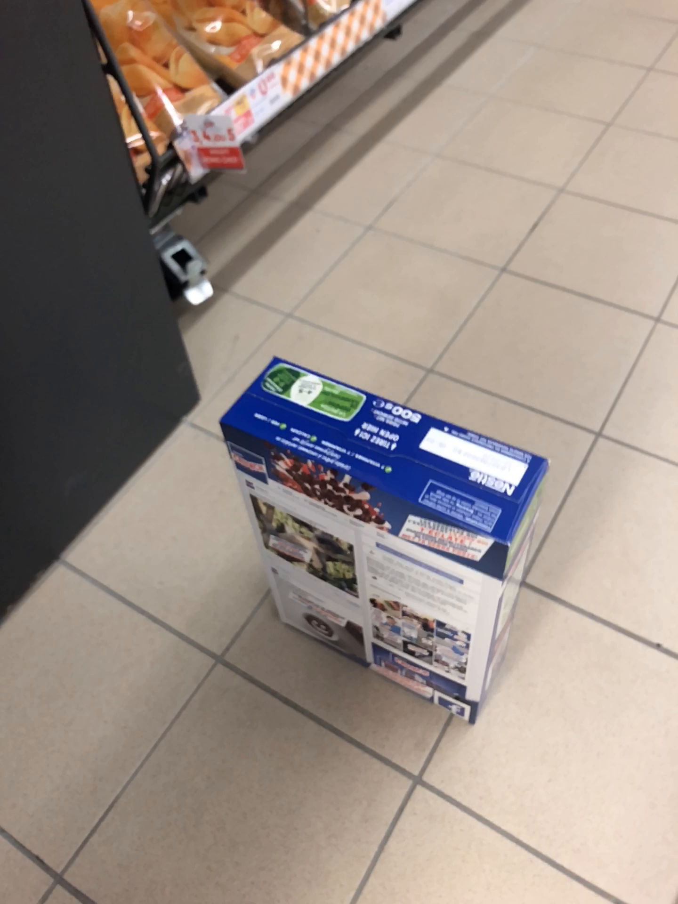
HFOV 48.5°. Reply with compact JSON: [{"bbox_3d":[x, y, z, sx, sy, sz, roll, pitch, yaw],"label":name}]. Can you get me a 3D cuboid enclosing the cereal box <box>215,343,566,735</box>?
[{"bbox_3d":[0.034,0.079,0.545,0.190,0.288,0.070,22,56,20],"label":"cereal box"}]
